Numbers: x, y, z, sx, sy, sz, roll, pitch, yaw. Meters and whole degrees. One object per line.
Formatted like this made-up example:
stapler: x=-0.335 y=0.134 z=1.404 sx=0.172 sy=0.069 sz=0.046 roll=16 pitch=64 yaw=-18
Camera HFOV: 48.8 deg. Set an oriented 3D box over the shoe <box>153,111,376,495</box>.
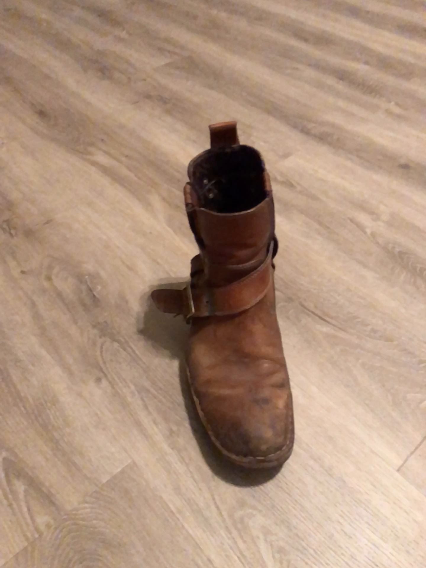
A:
shoe: x=0.018 y=0.007 z=0.447 sx=0.130 sy=0.209 sz=0.291 roll=-4 pitch=47 yaw=-3
